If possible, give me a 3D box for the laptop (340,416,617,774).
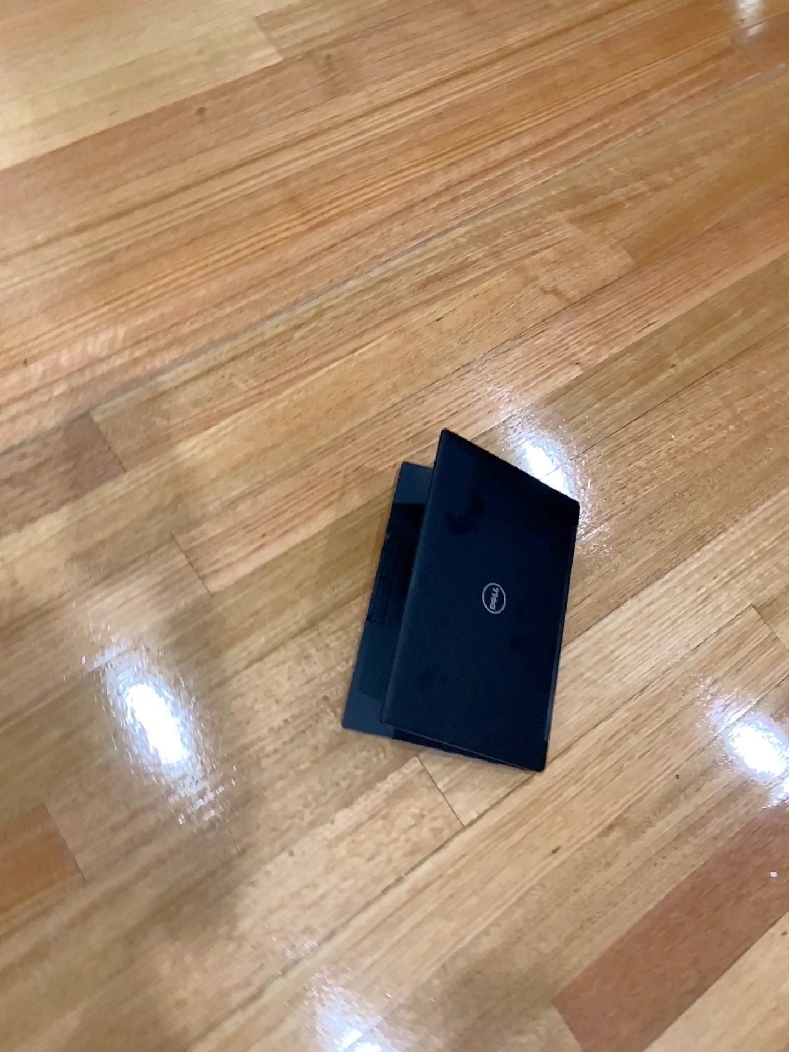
[{"bbox_3d":[0.086,0.072,0.808,0.206,0.110,0.297,15,71,-5],"label":"laptop"}]
